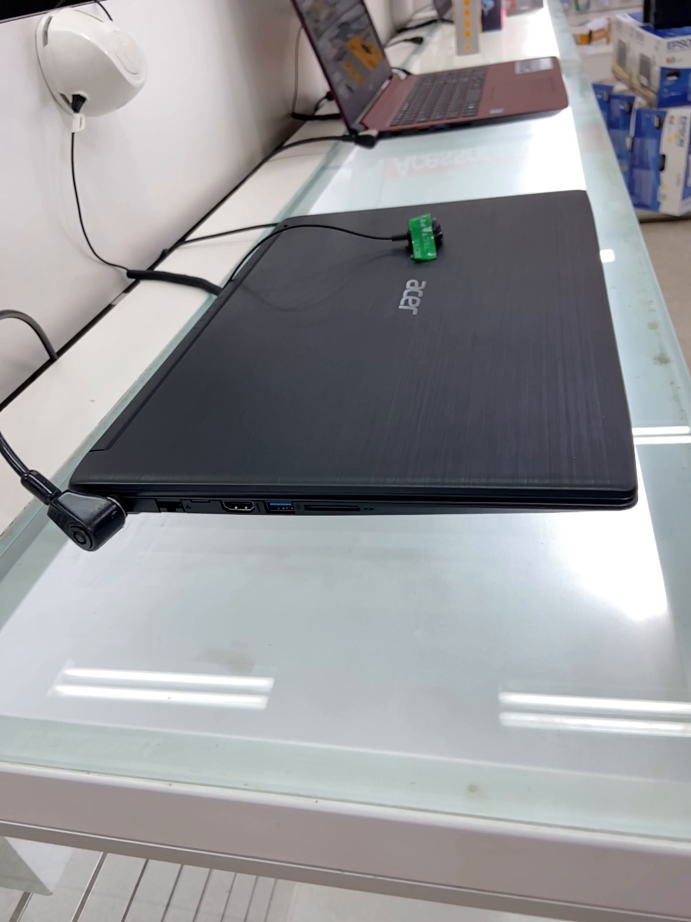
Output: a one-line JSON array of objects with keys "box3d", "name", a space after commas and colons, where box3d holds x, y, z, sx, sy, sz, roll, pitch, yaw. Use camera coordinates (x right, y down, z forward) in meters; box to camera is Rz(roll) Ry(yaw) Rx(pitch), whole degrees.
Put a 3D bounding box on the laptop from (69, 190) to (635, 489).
[{"box3d": [0.028, -0.104, 0.456, 0.247, 0.001, 0.389, 0, 36, 14], "name": "laptop"}]
